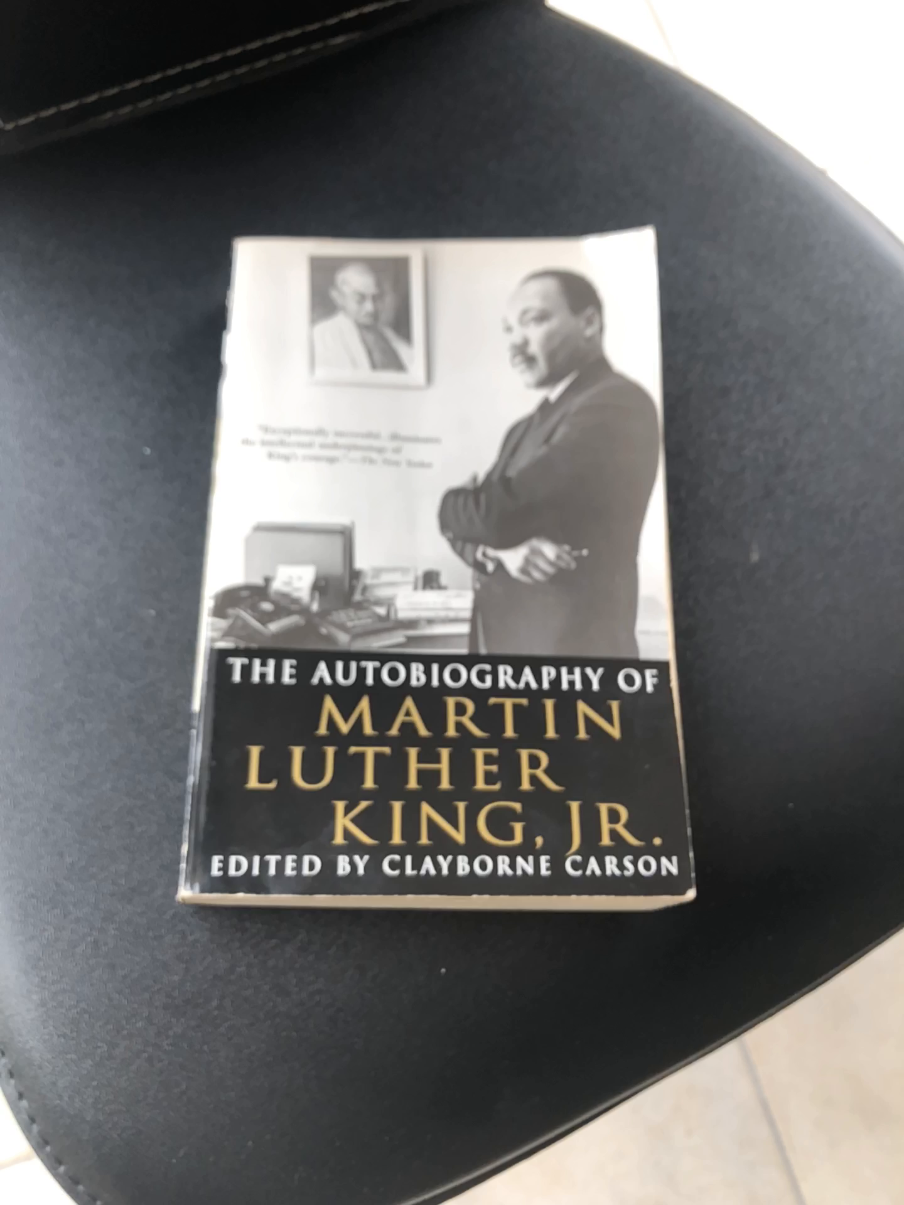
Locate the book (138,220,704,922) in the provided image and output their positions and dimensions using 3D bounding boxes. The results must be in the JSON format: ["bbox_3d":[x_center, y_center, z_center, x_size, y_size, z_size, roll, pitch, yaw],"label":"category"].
[{"bbox_3d":[-0.006,-0.015,0.343,0.160,0.050,0.230,1,73,1],"label":"book"}]
